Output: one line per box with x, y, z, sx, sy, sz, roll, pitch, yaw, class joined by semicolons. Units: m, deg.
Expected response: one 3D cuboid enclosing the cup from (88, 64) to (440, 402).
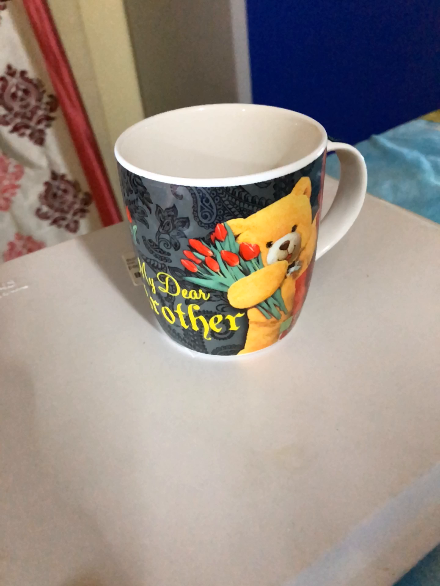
0.025;-0.037;0.231;0.130;0.099;0.080;-22;38;-21;cup
